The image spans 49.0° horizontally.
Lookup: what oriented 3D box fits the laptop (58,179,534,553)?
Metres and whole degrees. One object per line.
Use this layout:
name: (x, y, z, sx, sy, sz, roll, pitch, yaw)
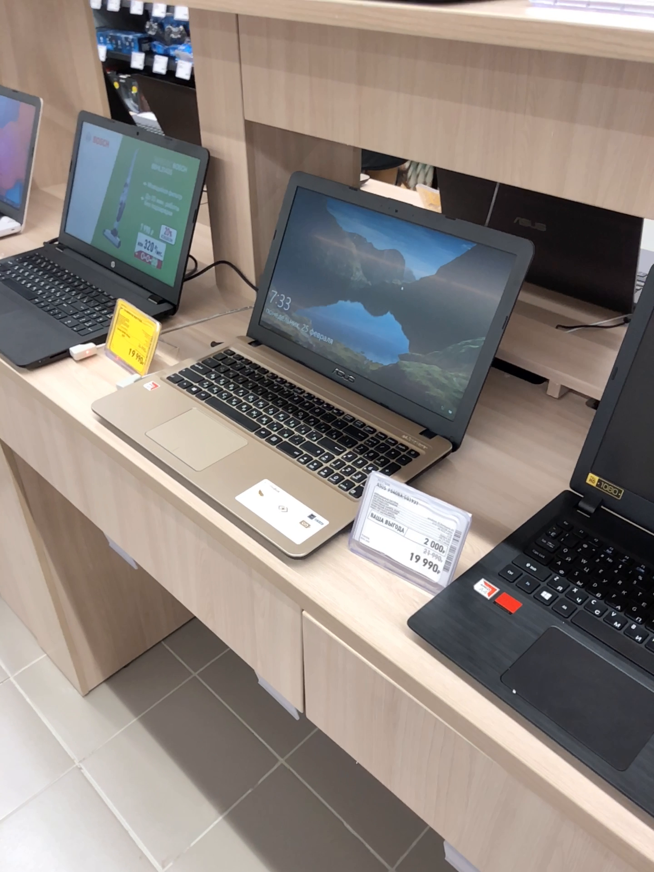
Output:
laptop: (-0.036, -0.119, 0.837, 0.351, 0.208, 0.367, -31, 45, -35)
